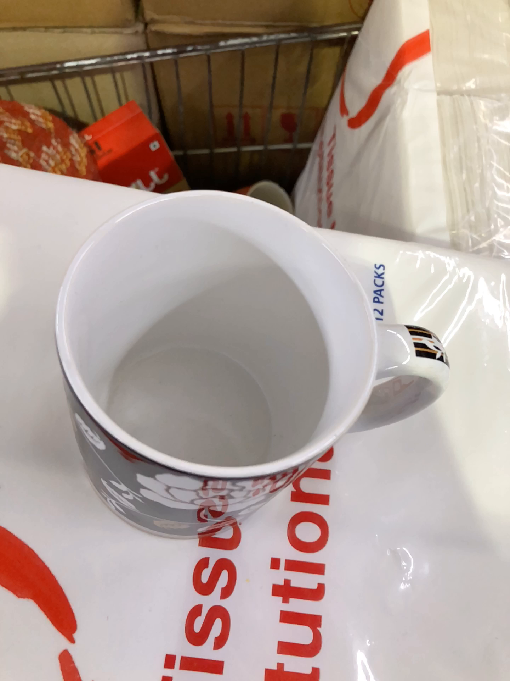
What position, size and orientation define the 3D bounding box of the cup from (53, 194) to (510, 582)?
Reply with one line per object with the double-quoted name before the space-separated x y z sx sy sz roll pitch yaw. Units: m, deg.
"cup" 0.011 0.019 0.179 0.130 0.100 0.080 -3 67 -16
